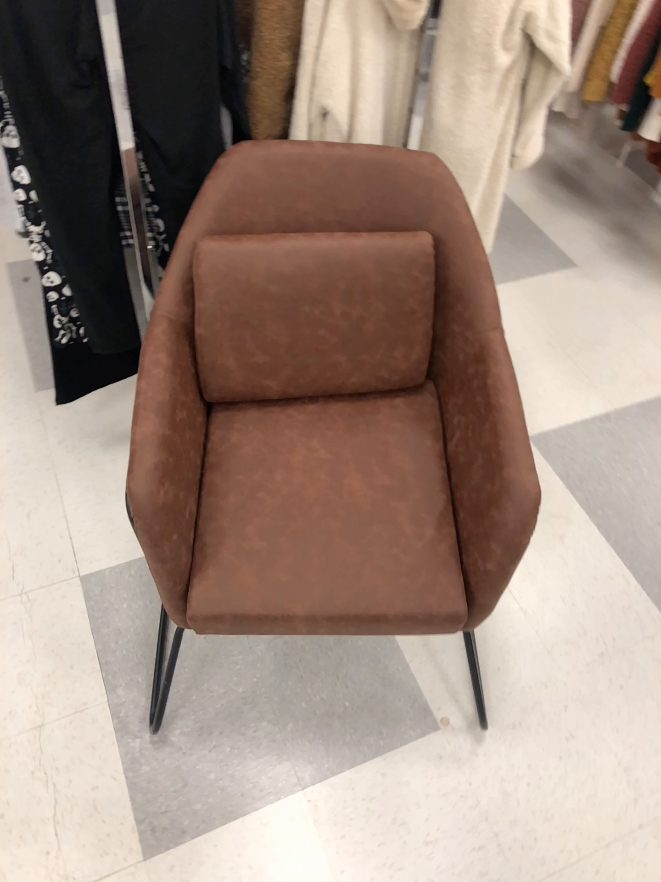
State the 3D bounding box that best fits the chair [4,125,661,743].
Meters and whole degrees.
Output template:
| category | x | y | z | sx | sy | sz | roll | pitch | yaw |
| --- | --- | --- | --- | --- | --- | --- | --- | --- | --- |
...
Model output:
| category | x | y | z | sx | sy | sz | roll | pitch | yaw |
| --- | --- | --- | --- | --- | --- | --- | --- | --- | --- |
| chair | -0.012 | 0.028 | 1.349 | 0.734 | 0.850 | 0.762 | 1 | 50 | -4 |
